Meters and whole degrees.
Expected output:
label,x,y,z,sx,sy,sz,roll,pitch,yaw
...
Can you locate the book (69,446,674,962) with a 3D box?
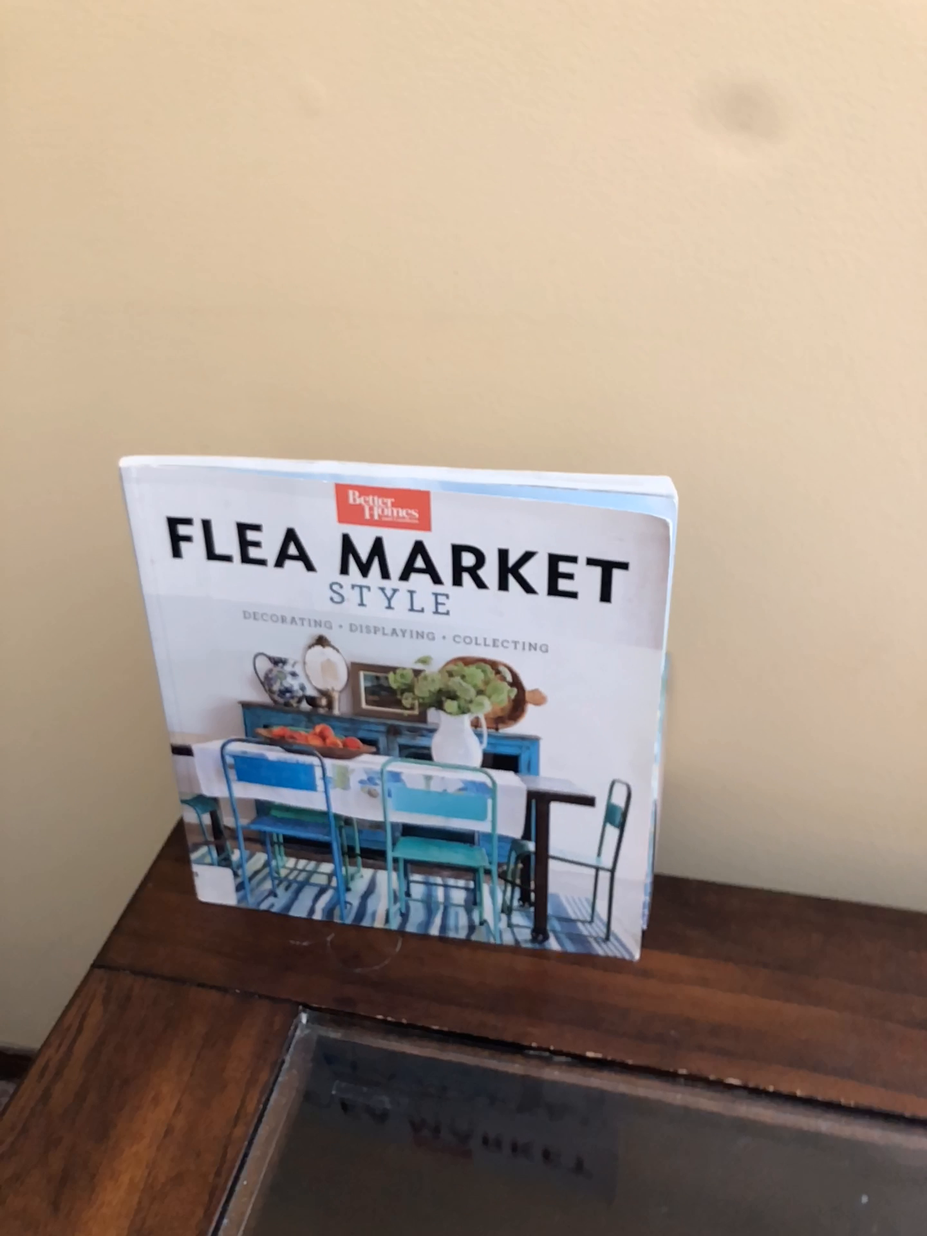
label,x,y,z,sx,sy,sz,roll,pitch,yaw
book,-0.033,0.046,0.461,0.233,0.239,0.032,4,32,10
